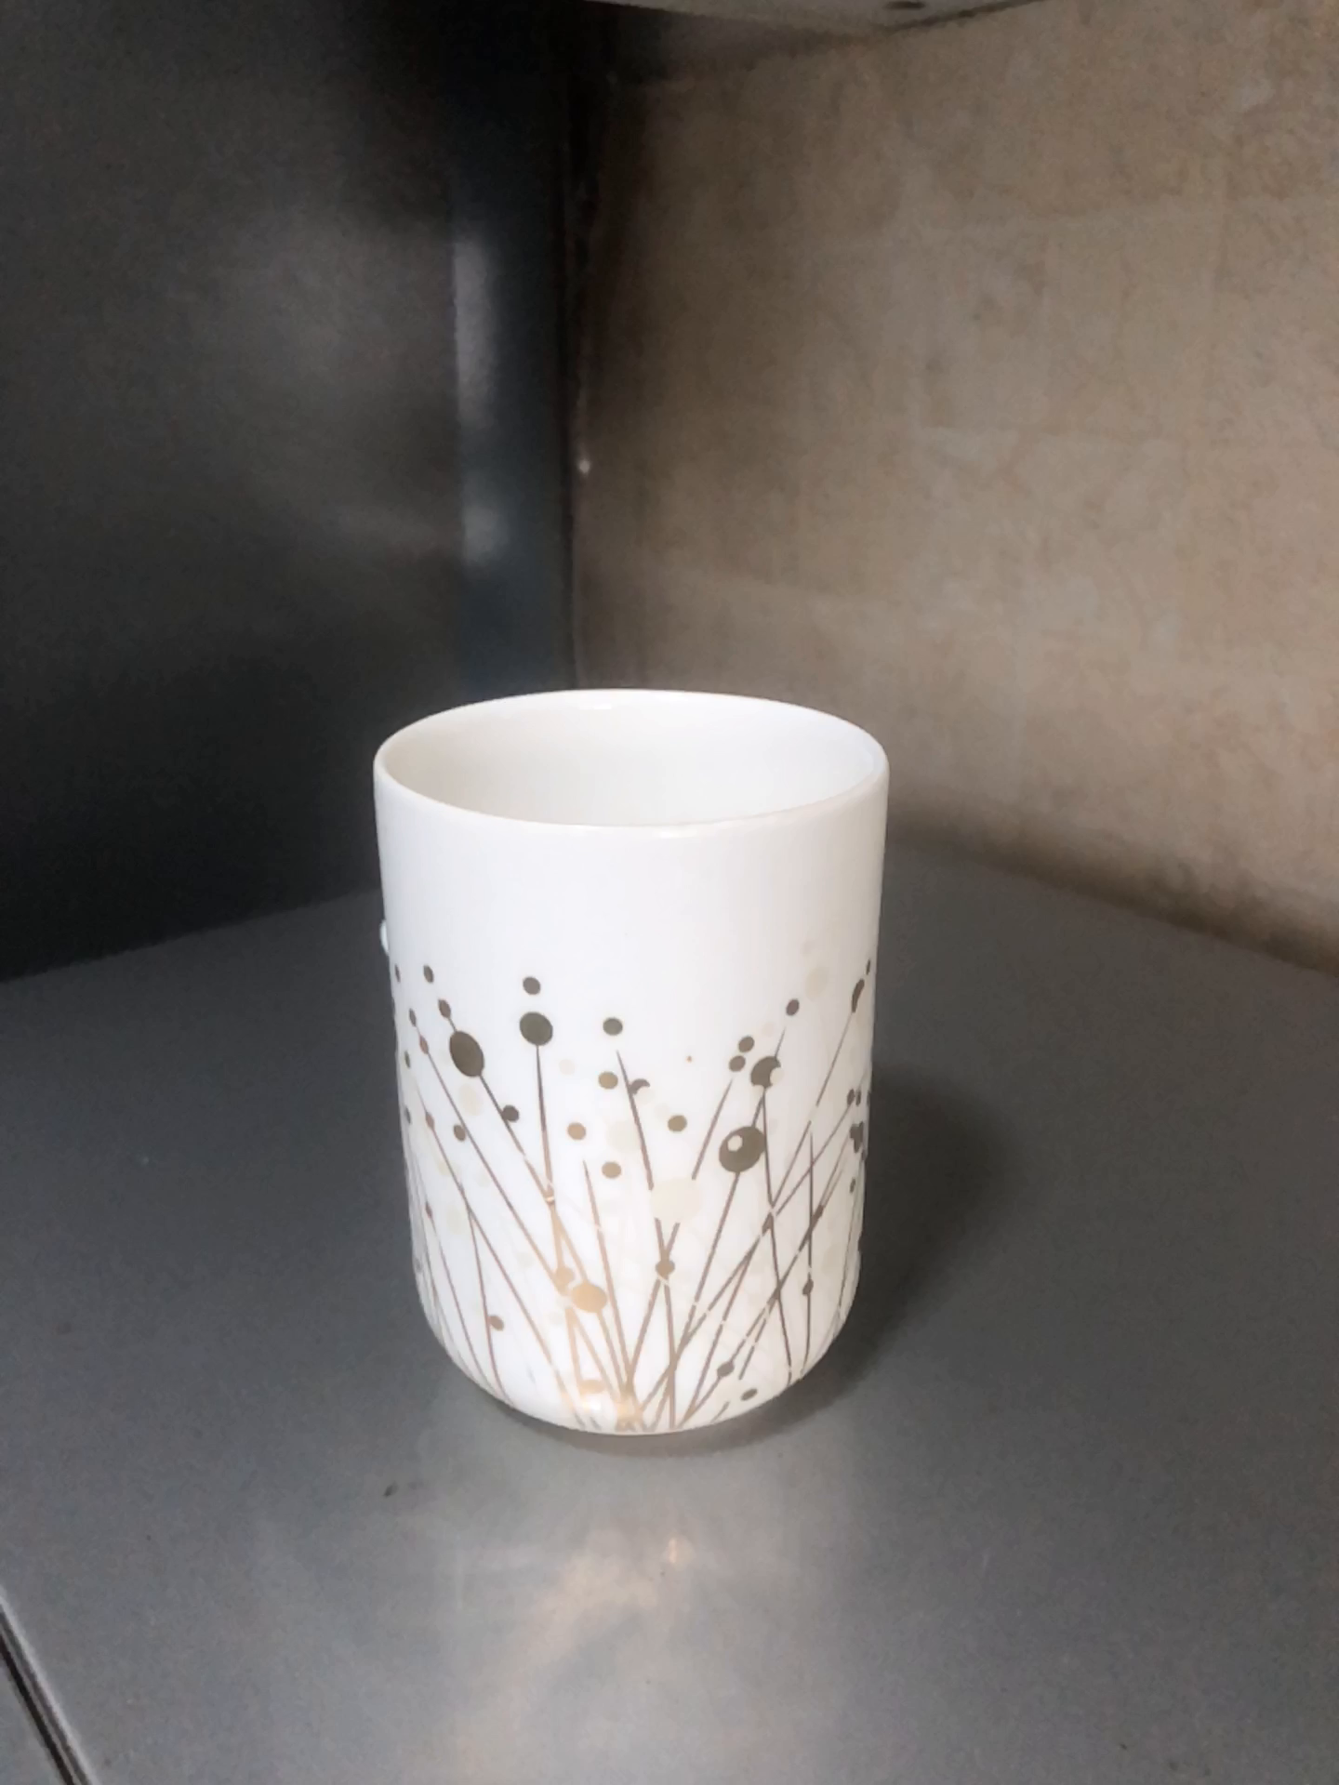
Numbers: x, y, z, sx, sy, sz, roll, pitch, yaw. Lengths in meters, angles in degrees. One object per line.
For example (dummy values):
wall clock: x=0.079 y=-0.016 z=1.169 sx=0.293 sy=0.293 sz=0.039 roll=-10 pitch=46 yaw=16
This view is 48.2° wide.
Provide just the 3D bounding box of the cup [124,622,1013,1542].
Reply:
cup: x=-0.016 y=0.017 z=0.245 sx=0.110 sy=0.099 sz=0.080 roll=15 pitch=25 yaw=36
